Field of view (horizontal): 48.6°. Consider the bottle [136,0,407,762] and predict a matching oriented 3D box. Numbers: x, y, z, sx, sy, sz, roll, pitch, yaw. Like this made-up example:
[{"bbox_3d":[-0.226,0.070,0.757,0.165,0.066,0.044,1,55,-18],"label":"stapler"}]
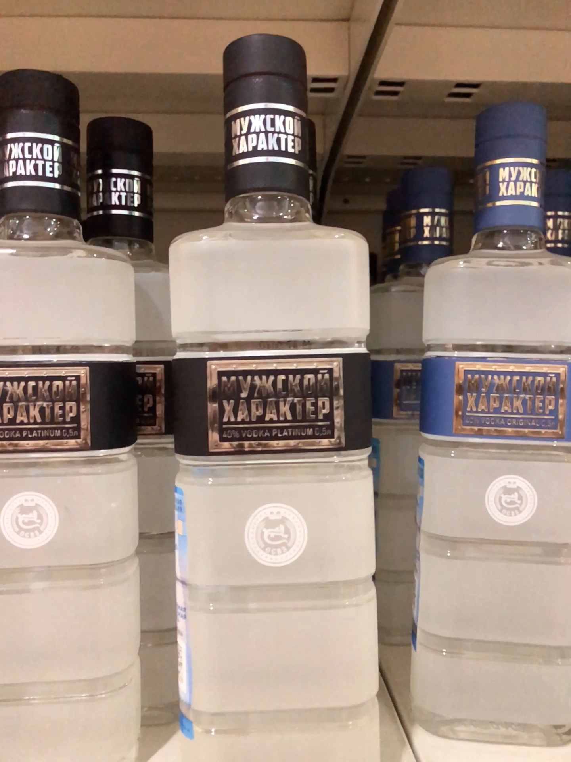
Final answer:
[{"bbox_3d":[-0.006,0.016,0.243,0.090,0.290,0.060,0,1,-3],"label":"bottle"}]
